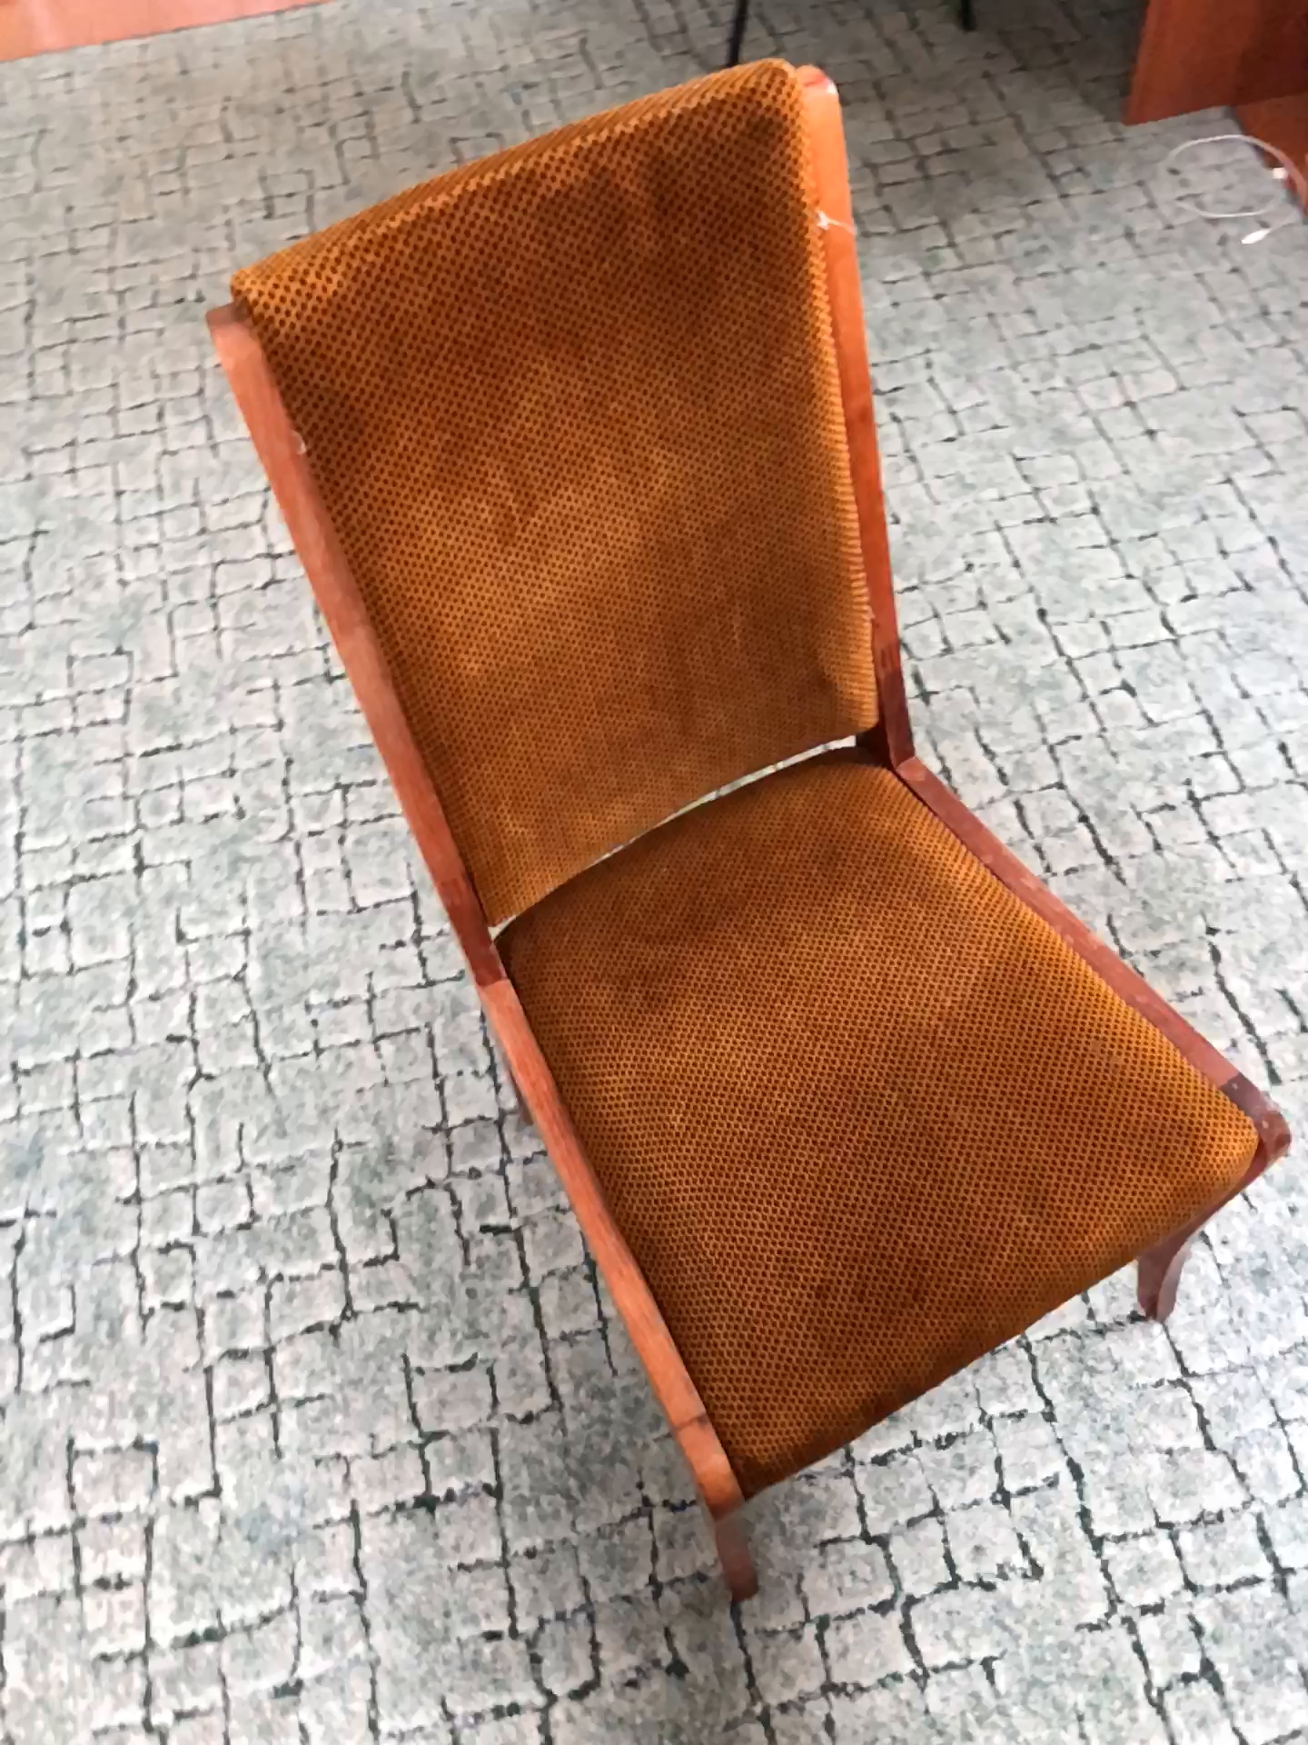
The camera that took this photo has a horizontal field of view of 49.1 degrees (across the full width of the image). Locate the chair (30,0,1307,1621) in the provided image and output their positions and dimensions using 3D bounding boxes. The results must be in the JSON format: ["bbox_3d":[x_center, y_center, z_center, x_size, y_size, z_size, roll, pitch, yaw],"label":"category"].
[{"bbox_3d":[0.100,0.063,0.935,0.471,0.925,0.530,-28,61,-12],"label":"chair"}]
